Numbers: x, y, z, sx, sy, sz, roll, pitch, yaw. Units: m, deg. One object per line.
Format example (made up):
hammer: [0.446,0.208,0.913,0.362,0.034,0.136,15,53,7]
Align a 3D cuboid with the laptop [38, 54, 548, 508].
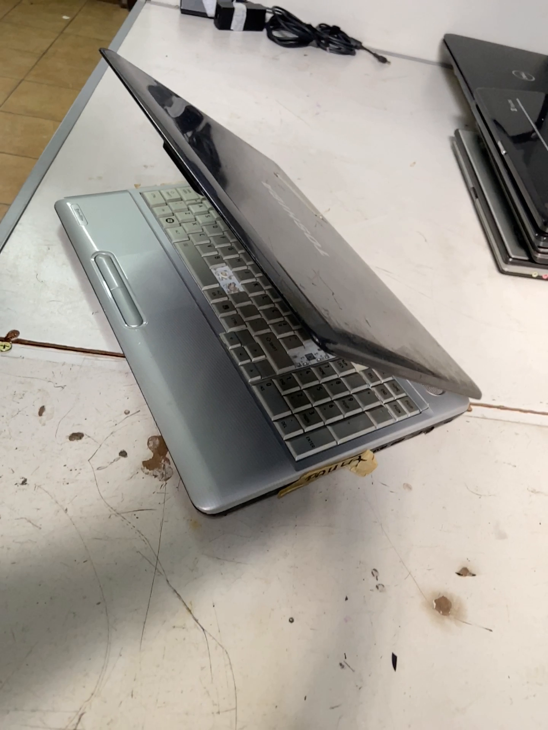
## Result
laptop: [-0.014,-0.113,0.492,0.256,0.143,0.373,-17,55,-25]
